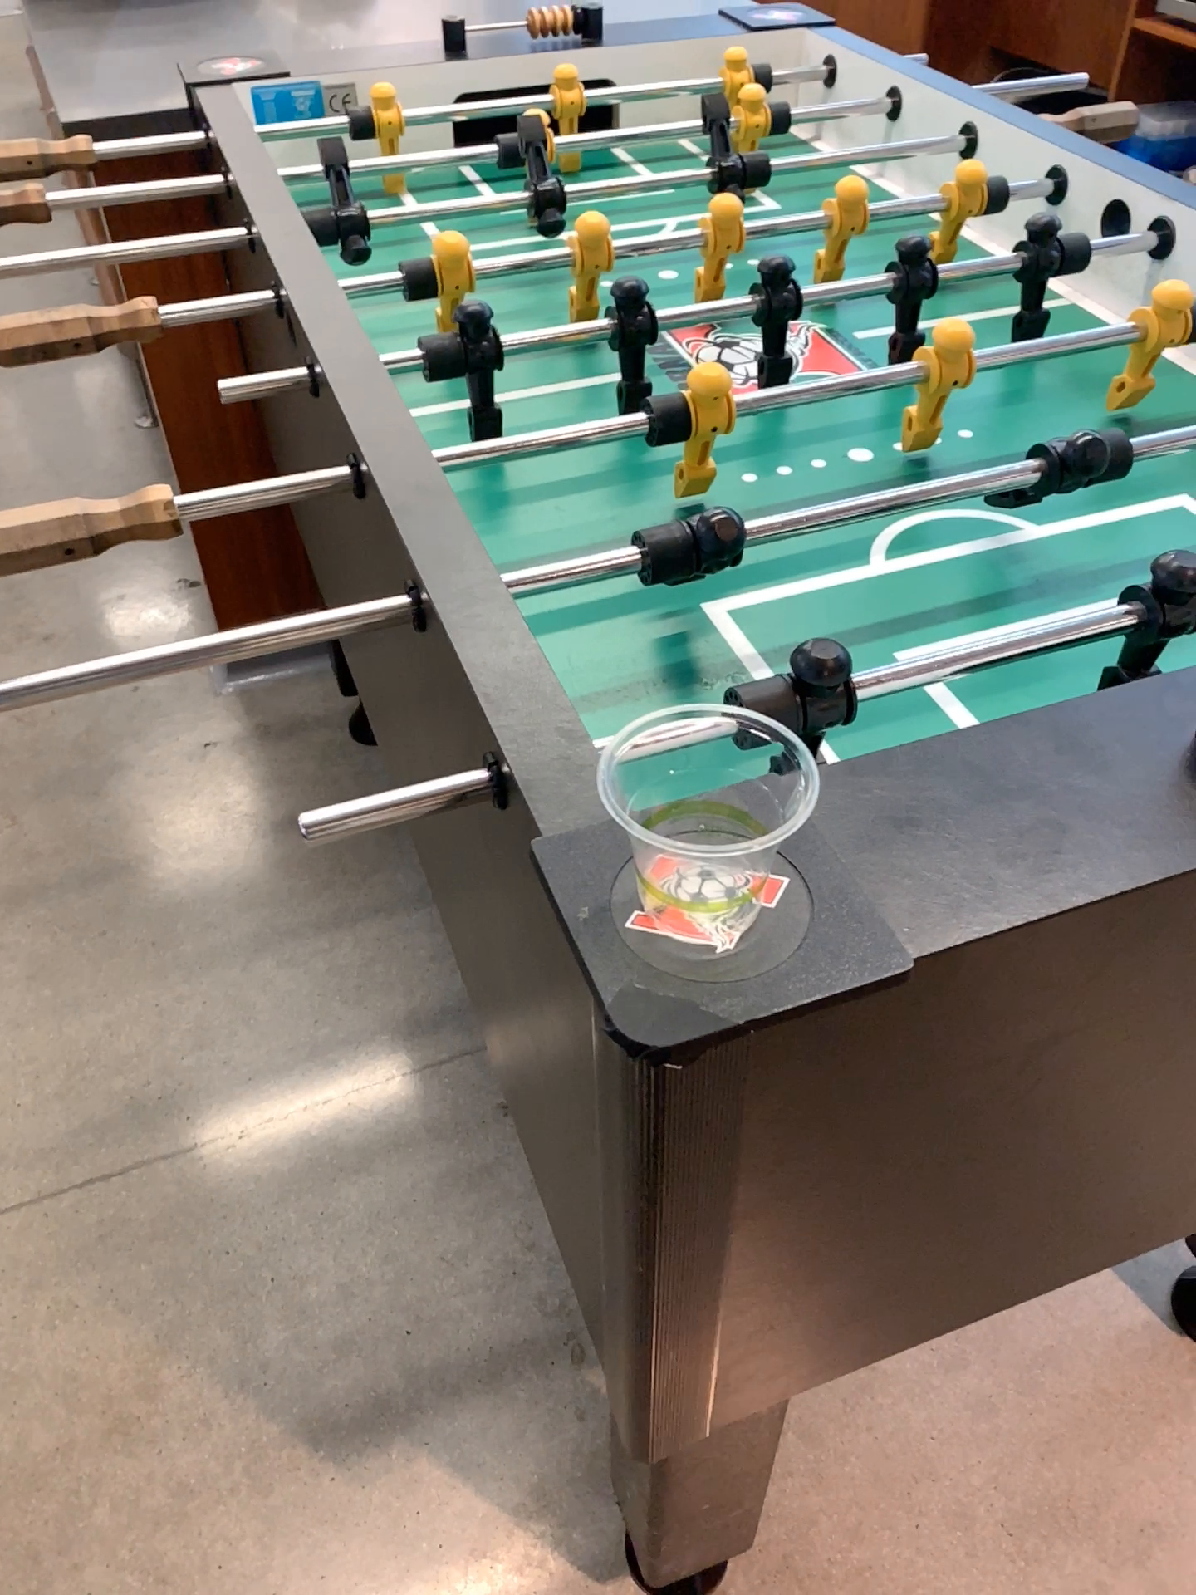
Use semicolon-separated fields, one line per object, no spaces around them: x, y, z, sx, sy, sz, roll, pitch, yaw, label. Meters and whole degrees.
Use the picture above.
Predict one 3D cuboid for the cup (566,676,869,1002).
0.038;0.012;0.417;0.070;0.060;0.070;0;44;0;cup
